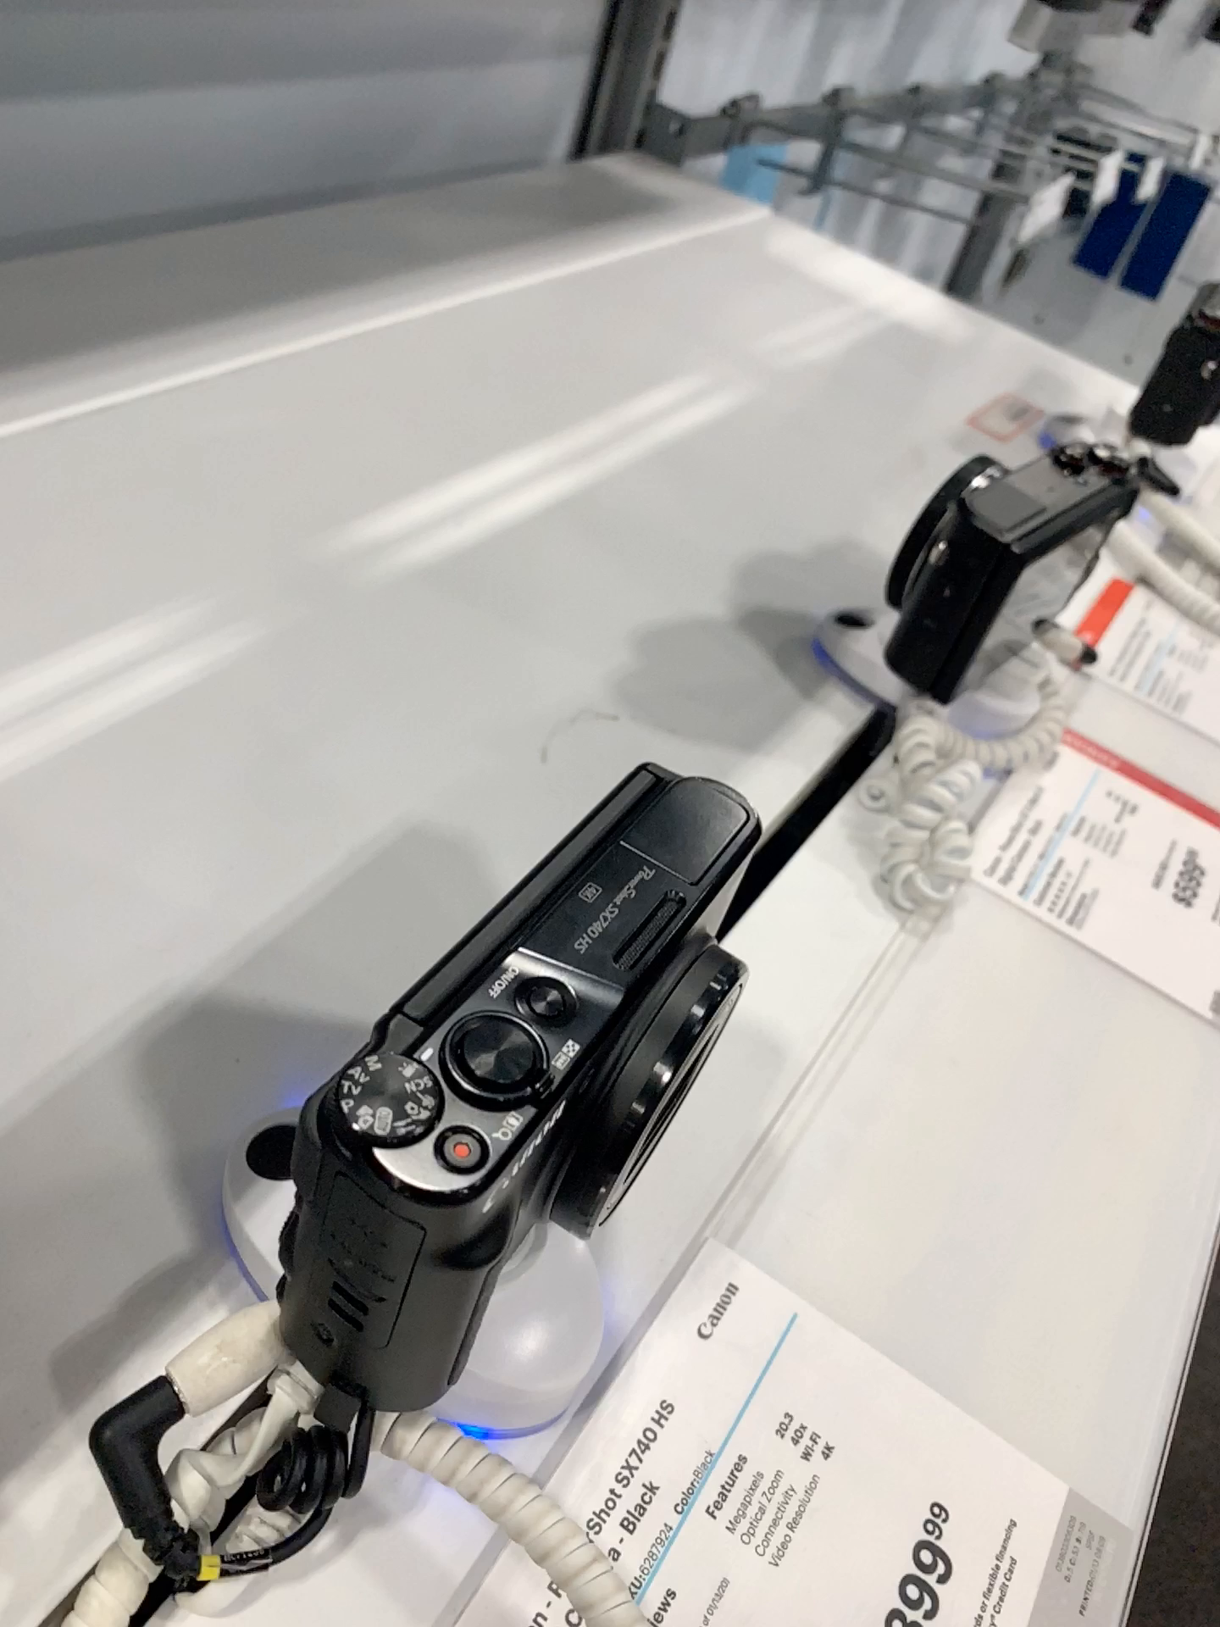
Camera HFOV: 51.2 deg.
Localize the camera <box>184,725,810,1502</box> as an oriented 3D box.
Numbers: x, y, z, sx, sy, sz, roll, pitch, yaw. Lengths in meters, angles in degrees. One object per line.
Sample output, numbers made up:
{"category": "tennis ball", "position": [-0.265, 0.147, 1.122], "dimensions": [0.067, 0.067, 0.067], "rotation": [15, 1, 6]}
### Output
{"category": "camera", "position": [-0.015, 0.044, 0.227], "dimensions": [0.041, 0.063, 0.121], "rotation": [30, 40, 13]}
